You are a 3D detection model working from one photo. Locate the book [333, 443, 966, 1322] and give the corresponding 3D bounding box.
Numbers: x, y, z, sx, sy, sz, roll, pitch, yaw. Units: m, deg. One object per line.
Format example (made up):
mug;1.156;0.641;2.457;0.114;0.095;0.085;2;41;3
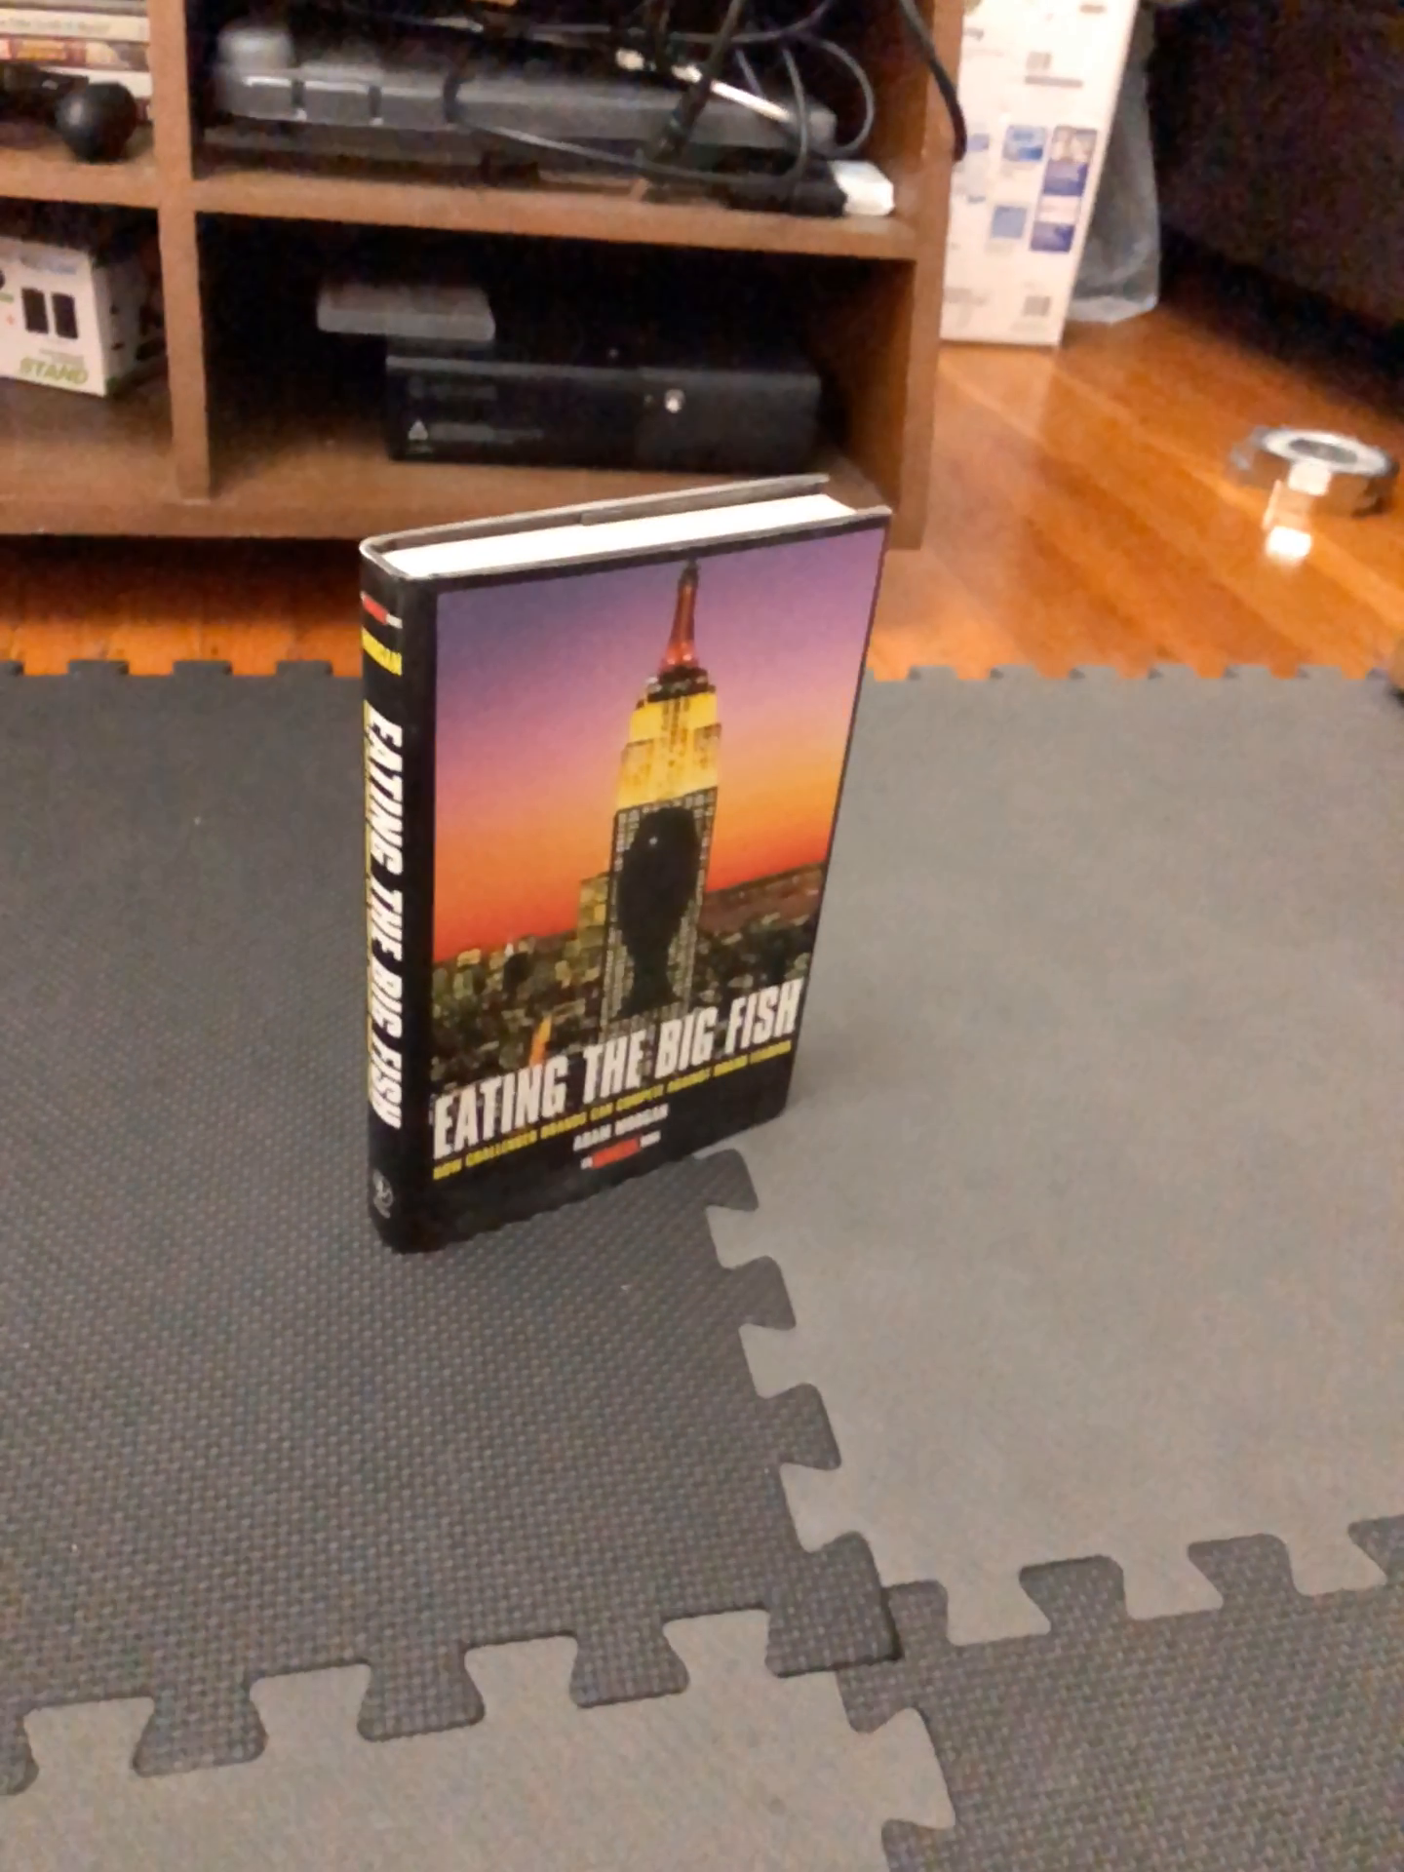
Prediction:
book;-0.023;-0.014;0.504;0.181;0.258;0.050;-19;44;-33
